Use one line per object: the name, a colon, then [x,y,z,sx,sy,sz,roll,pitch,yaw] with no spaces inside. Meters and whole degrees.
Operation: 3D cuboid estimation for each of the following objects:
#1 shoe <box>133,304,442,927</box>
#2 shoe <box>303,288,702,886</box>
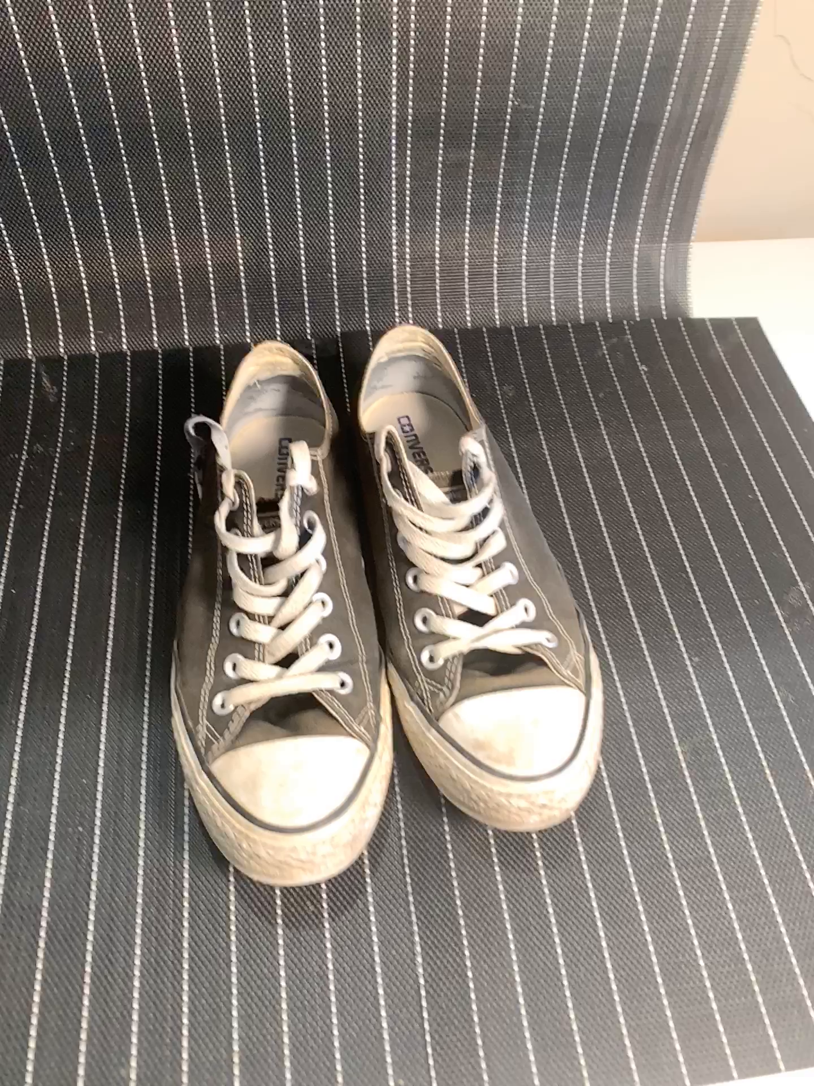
shoe: [-0.064,0.014,0.416,0.110,0.080,0.301,-5,55,-7]
shoe: [0.026,0.002,0.434,0.110,0.080,0.301,-9,56,-9]
